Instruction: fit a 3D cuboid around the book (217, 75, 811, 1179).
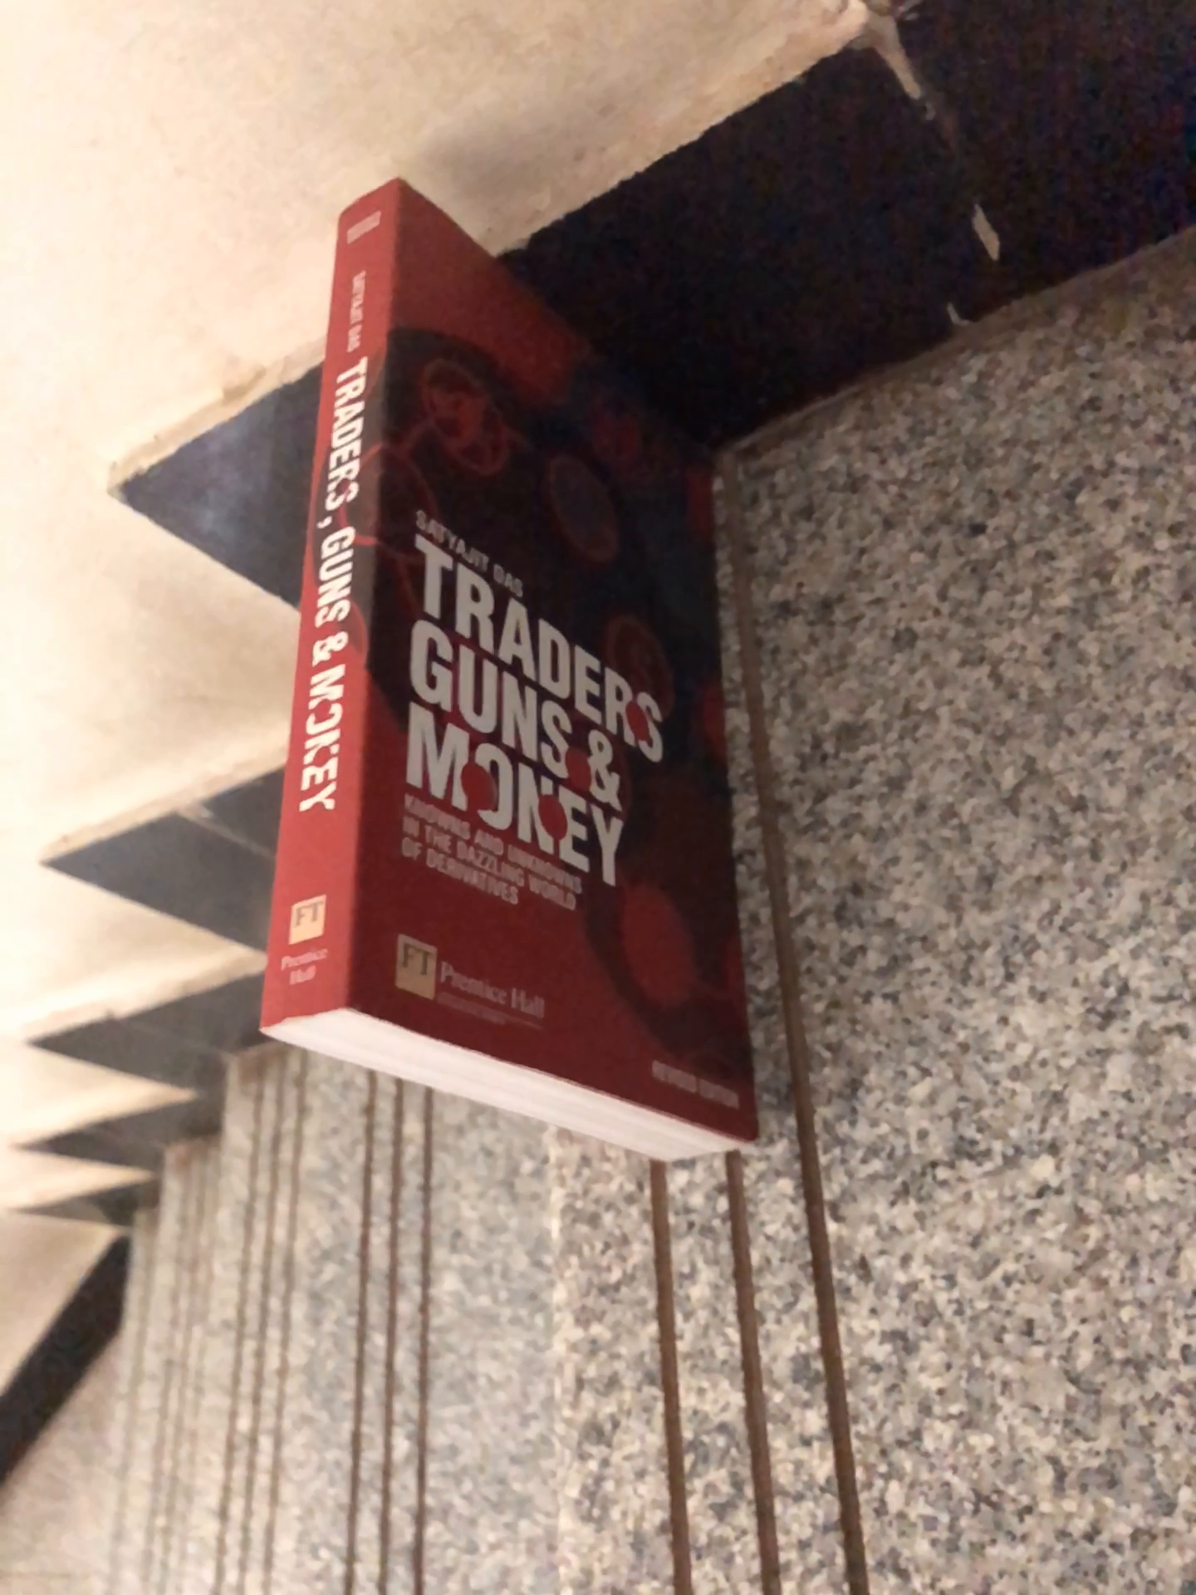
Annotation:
[{"bbox_3d":[-0.009,-0.038,0.325,0.030,0.149,0.230,-20,57,33],"label":"book"}]
